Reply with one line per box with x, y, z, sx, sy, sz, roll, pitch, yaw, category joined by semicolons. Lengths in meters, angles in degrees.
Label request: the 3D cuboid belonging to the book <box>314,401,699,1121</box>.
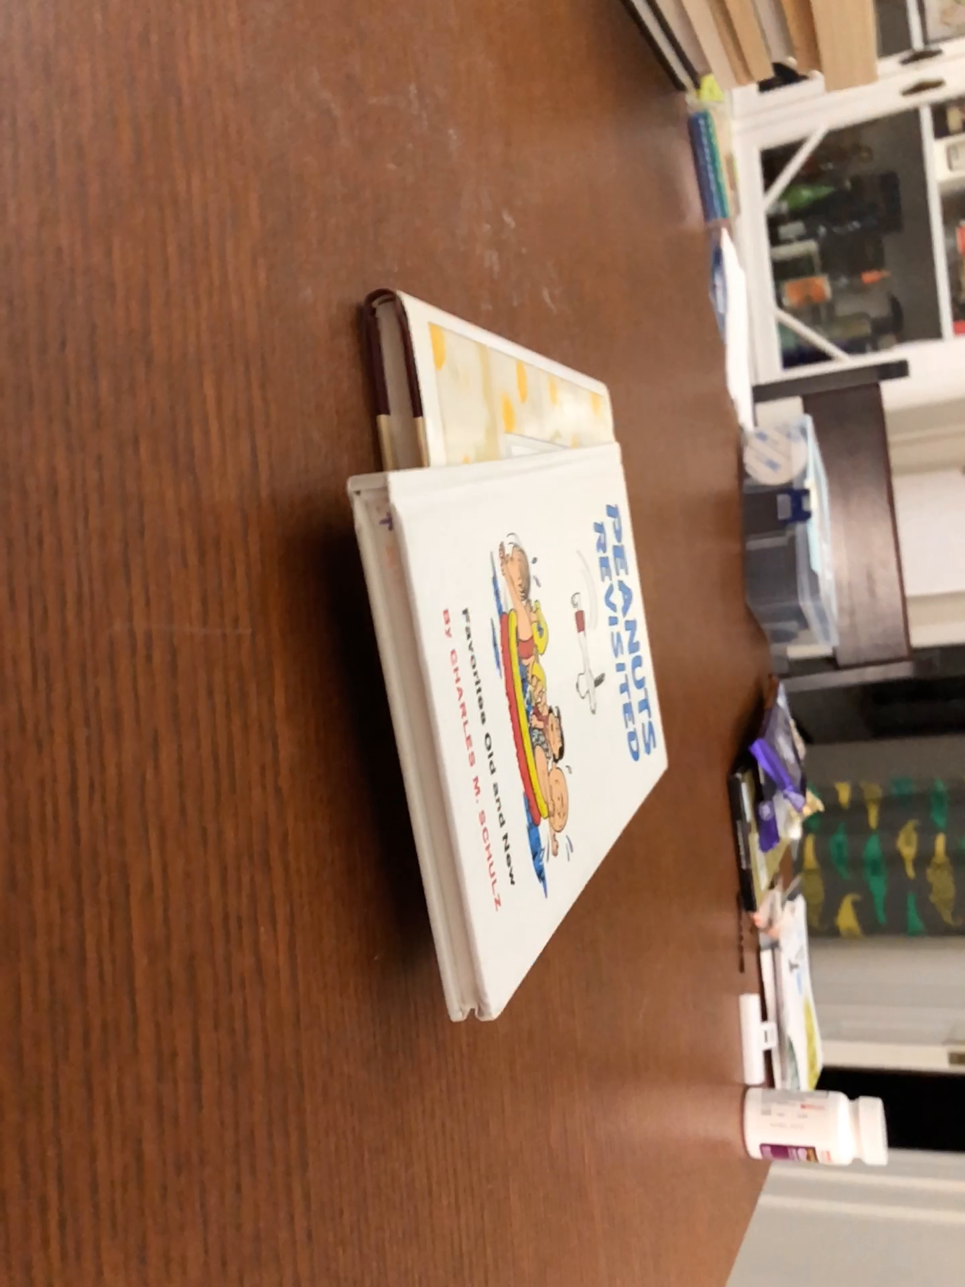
0.026;0.010;0.334;0.211;0.020;0.160;-33;114;-64;book
